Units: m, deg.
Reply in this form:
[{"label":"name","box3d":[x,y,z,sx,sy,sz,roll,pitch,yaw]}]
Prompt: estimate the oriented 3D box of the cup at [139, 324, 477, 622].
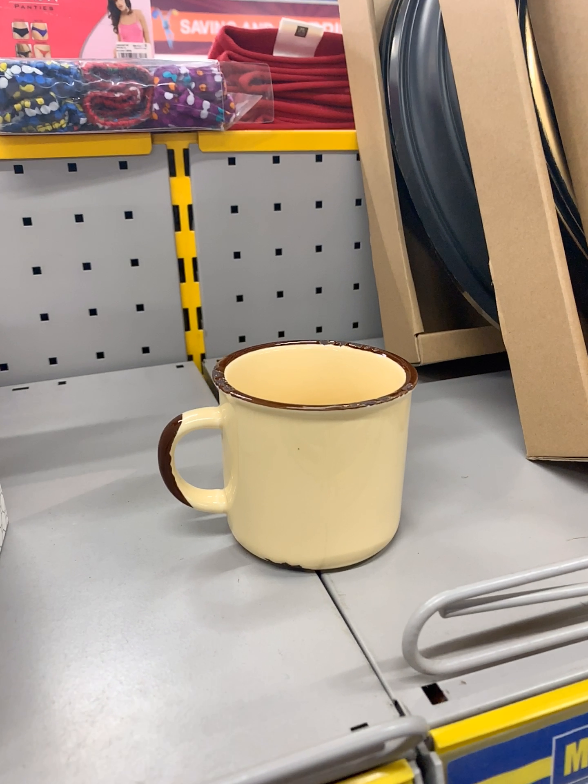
[{"label":"cup","box3d":[-0.001,0.026,0.265,0.120,0.080,0.090,-6,23,-12]}]
